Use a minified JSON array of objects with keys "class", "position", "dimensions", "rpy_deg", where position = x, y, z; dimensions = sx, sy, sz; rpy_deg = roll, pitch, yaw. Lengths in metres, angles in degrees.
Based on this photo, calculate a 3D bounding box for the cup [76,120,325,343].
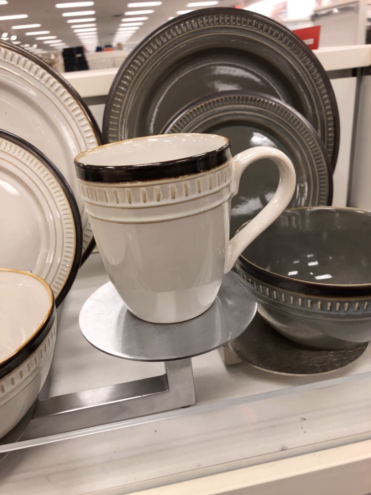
[{"class":"cup","position":[0.005,-0.020,0.267],"dimensions":[0.128,0.097,0.092],"rpy_deg":[-11,25,-12]}]
